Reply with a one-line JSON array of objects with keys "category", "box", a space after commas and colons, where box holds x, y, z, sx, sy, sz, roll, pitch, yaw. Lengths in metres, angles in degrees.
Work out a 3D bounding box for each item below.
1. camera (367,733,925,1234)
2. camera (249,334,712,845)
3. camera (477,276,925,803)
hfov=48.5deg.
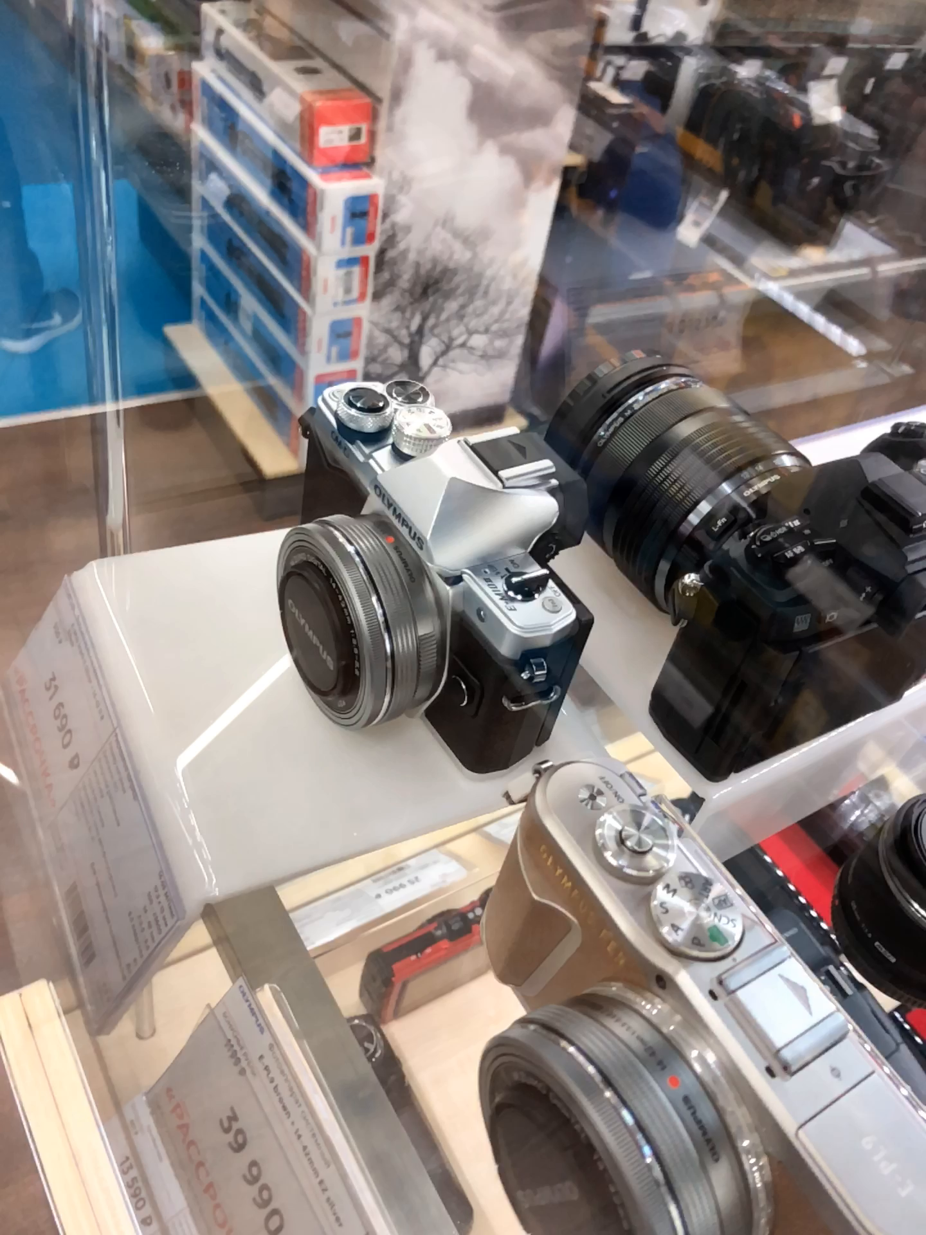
[{"category": "camera", "box": [0.045, 0.104, 0.214, 0.065, 0.062, 0.140, -17, 51, -29]}, {"category": "camera", "box": [-0.004, -0.014, 0.307, 0.072, 0.080, 0.120, -17, 51, -30]}, {"category": "camera", "box": [0.090, -0.034, 0.336, 0.102, 0.087, 0.137, -16, 51, -29]}]
